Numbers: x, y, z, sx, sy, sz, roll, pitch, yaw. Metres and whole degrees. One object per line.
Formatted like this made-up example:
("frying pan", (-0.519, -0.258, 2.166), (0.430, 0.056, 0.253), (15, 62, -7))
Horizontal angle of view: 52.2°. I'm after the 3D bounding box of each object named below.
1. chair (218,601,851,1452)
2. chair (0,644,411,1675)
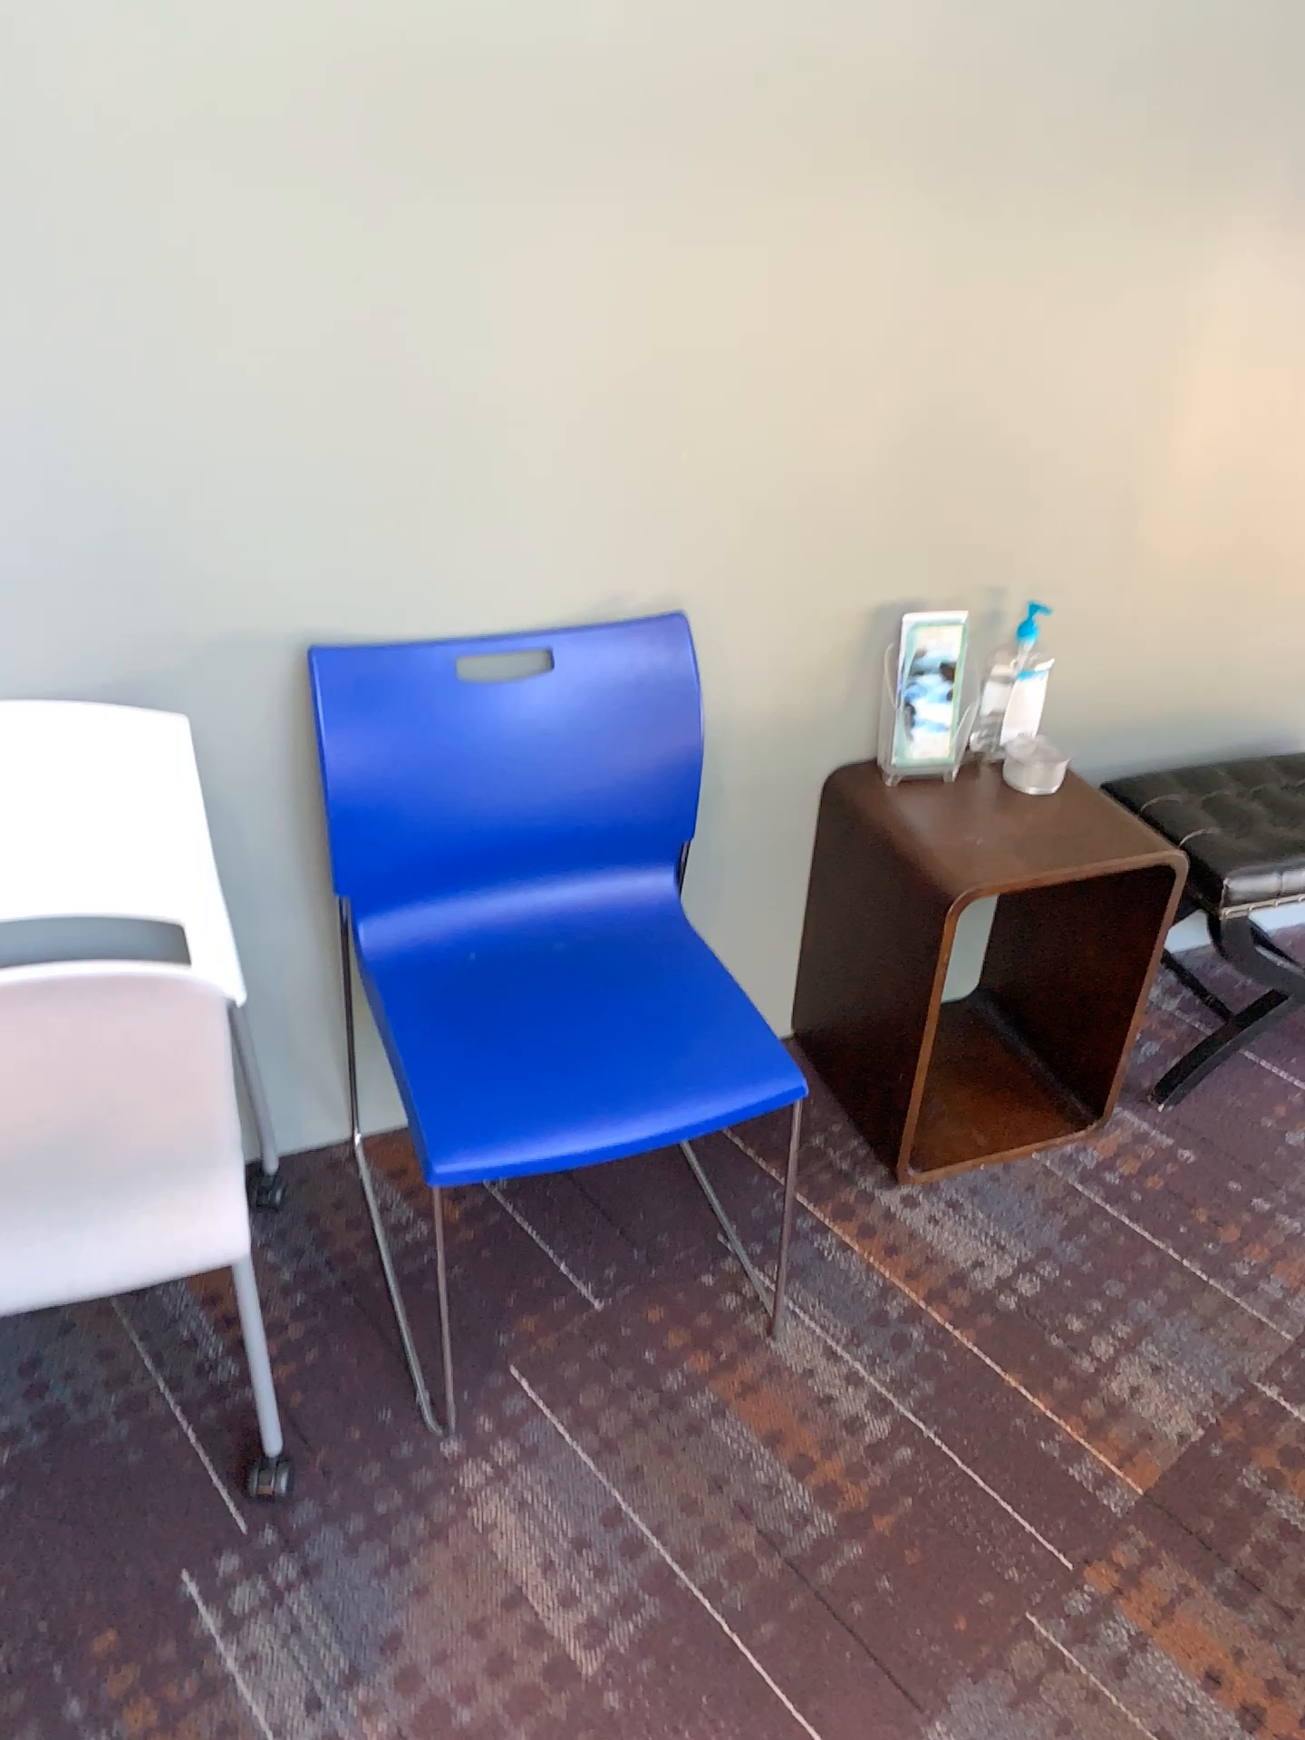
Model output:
("chair", (-0.181, 0.149, 1.737), (0.590, 0.796, 0.624), (-9, 29, -18))
("chair", (-0.658, 0.252, 1.445), (0.590, 0.796, 0.563), (-10, 33, -29))
